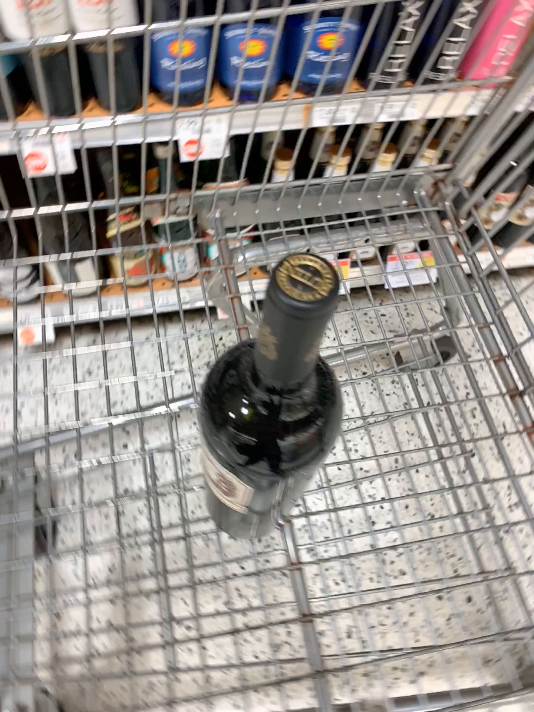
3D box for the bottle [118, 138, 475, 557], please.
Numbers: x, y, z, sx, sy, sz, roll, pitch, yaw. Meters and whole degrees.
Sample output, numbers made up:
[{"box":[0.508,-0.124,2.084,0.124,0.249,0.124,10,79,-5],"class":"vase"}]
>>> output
[{"box":[-0.004,0.034,0.312,0.100,0.298,0.091,-9,63,-9],"class":"bottle"}]
